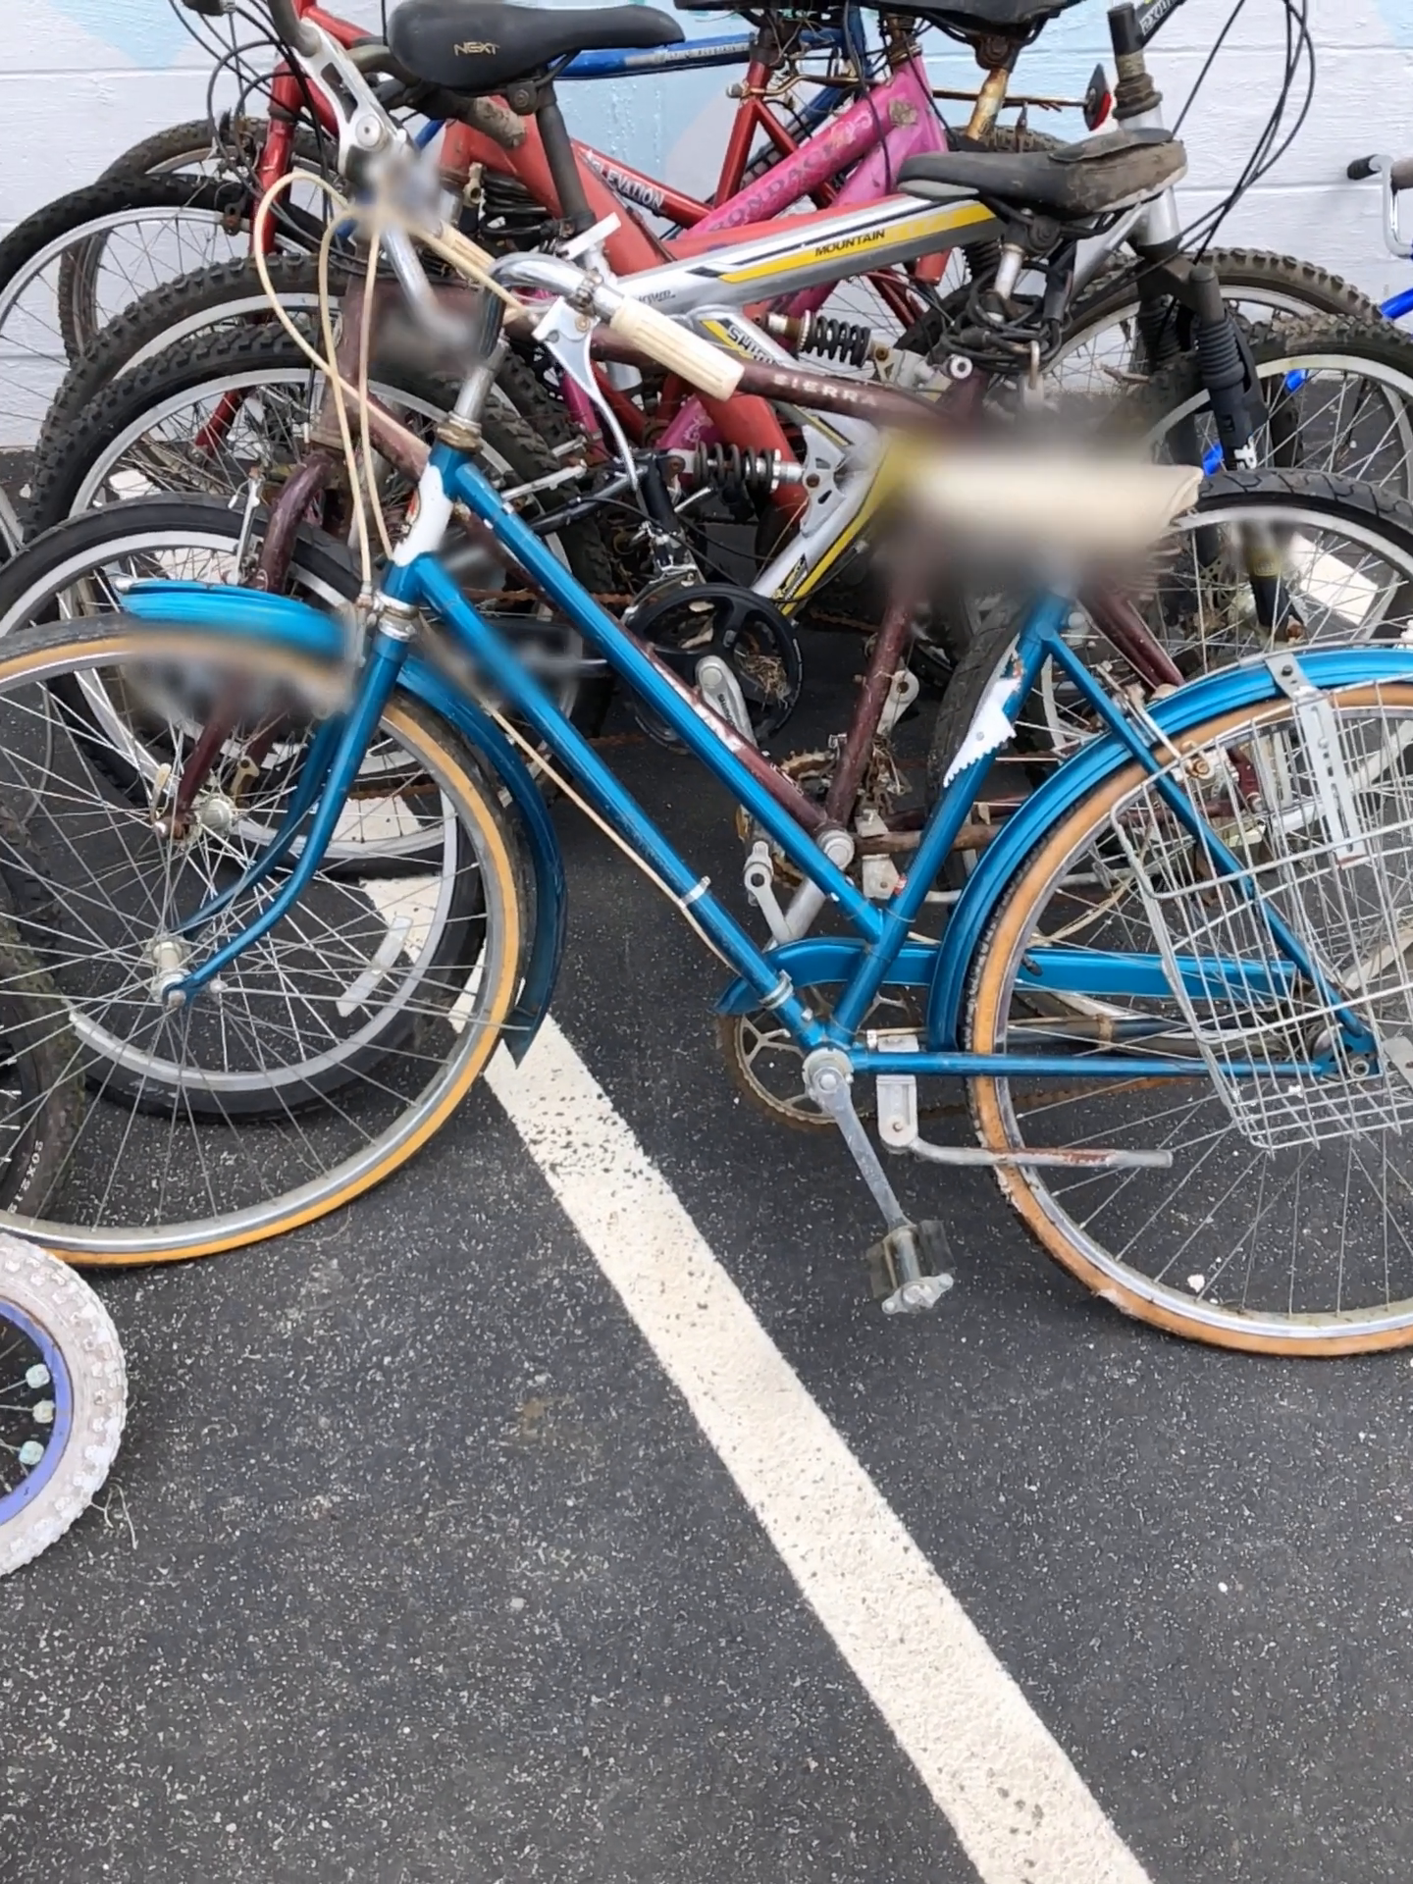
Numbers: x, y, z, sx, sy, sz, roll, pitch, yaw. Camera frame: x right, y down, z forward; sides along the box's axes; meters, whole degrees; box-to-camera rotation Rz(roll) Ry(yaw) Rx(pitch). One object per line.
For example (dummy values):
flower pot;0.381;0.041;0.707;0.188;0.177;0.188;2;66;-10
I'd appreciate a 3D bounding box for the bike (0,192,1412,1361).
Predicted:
bike;0.047;-0.099;1.240;1.481;0.760;0.478;1;40;-1
